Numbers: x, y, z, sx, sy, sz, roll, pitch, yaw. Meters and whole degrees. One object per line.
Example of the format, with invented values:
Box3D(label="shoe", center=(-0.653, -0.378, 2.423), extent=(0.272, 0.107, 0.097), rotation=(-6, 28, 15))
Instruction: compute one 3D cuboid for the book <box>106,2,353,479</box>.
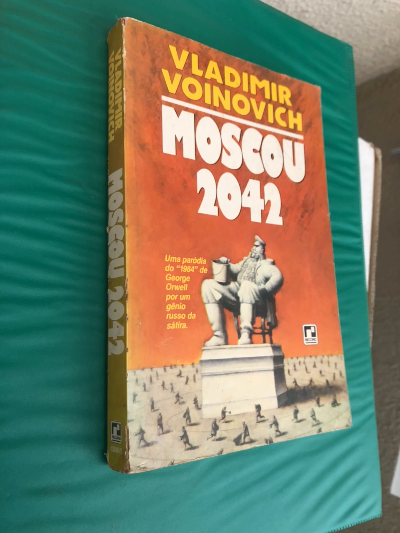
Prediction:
Box3D(label="book", center=(0.019, -0.014, 0.232), extent=(0.133, 0.020, 0.203), rotation=(4, 79, -34))
